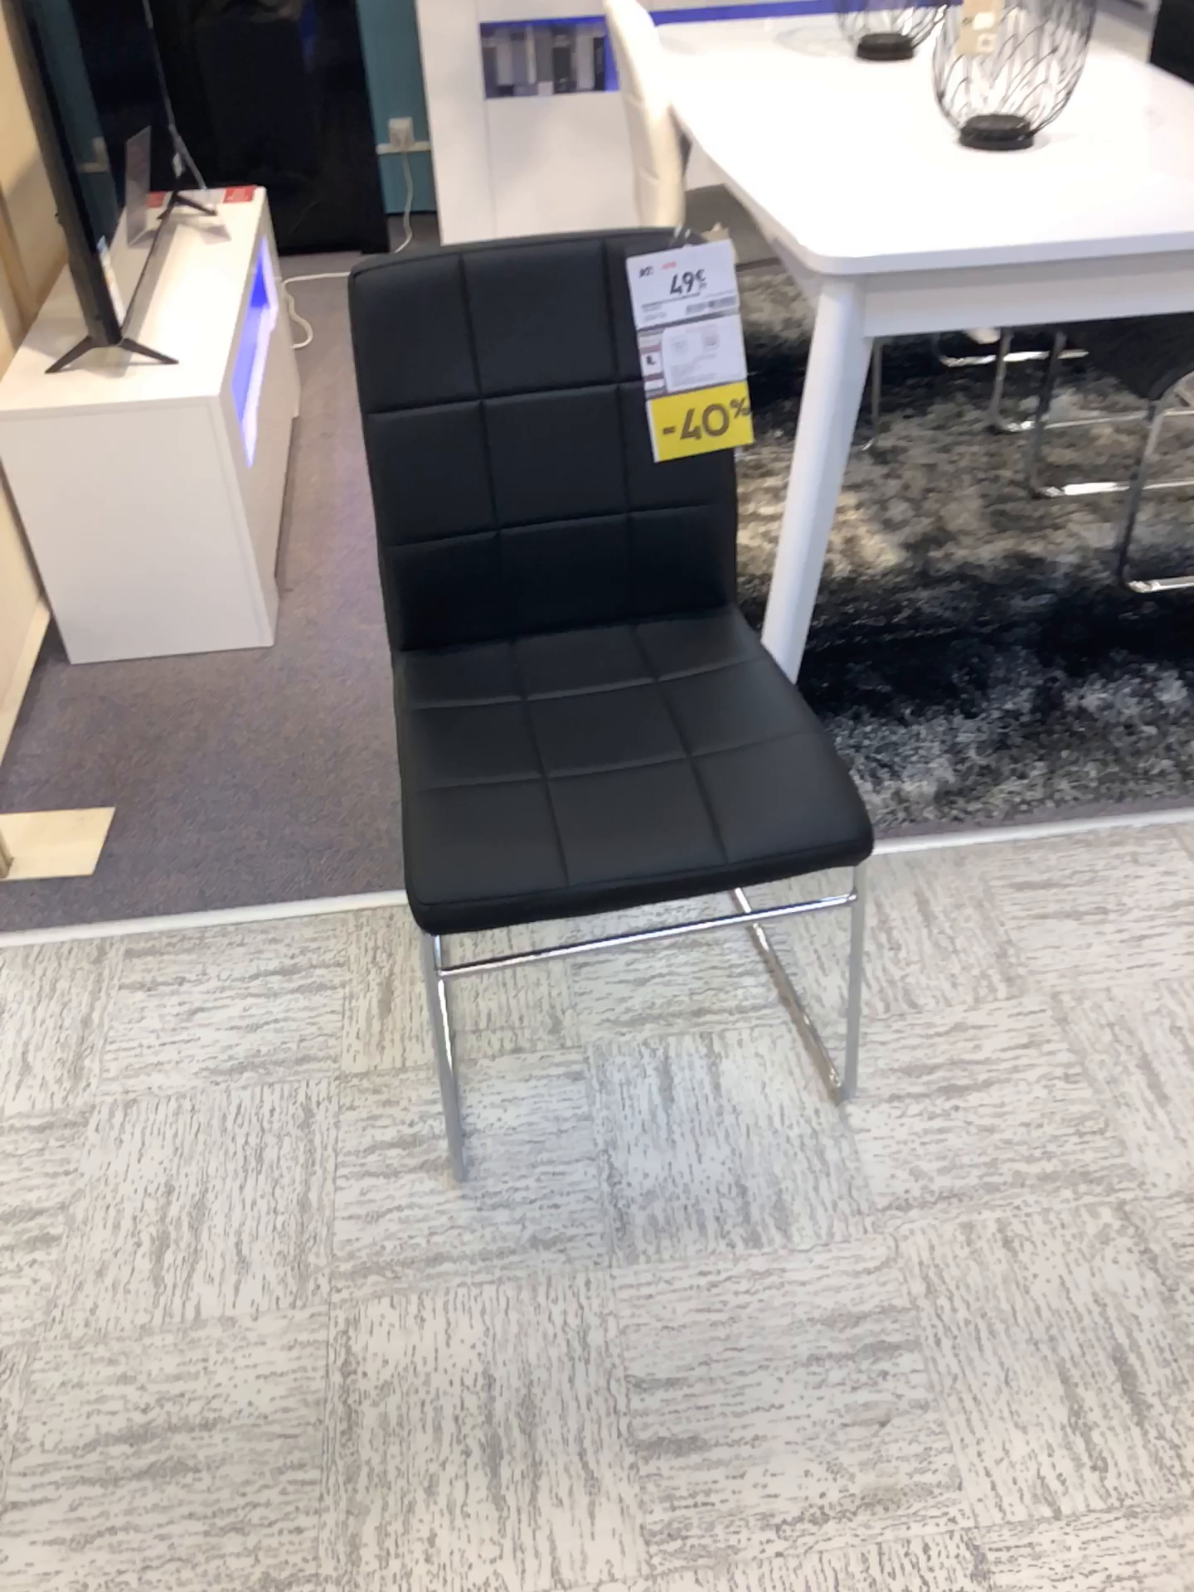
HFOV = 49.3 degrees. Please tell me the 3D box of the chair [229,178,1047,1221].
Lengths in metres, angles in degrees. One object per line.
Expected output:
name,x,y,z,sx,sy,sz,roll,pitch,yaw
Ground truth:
chair,-0.004,-0.110,1.348,0.550,0.795,0.634,-8,39,-7
